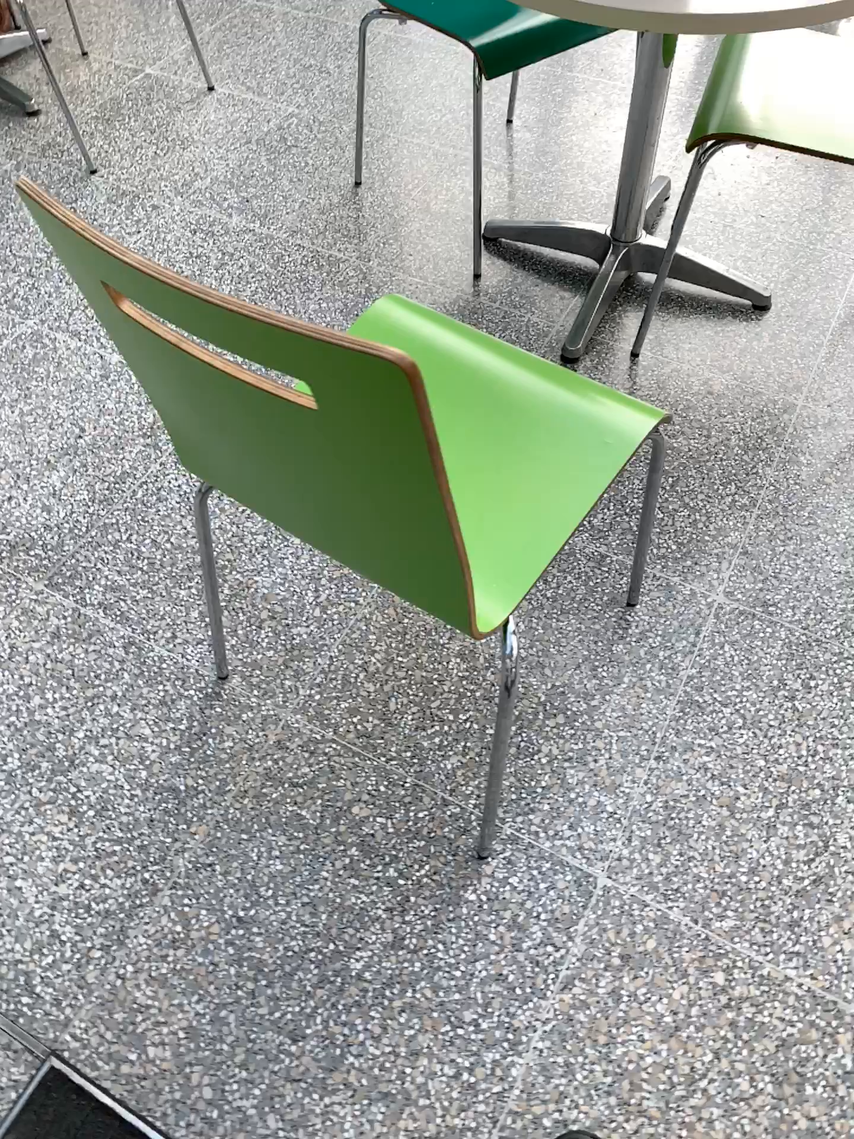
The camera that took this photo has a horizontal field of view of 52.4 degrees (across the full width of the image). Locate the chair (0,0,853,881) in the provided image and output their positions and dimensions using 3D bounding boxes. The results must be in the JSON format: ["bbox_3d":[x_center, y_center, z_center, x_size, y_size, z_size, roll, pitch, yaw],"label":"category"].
[{"bbox_3d":[0.008,-0.136,1.024,0.542,0.833,0.533,29,60,21],"label":"chair"}]
